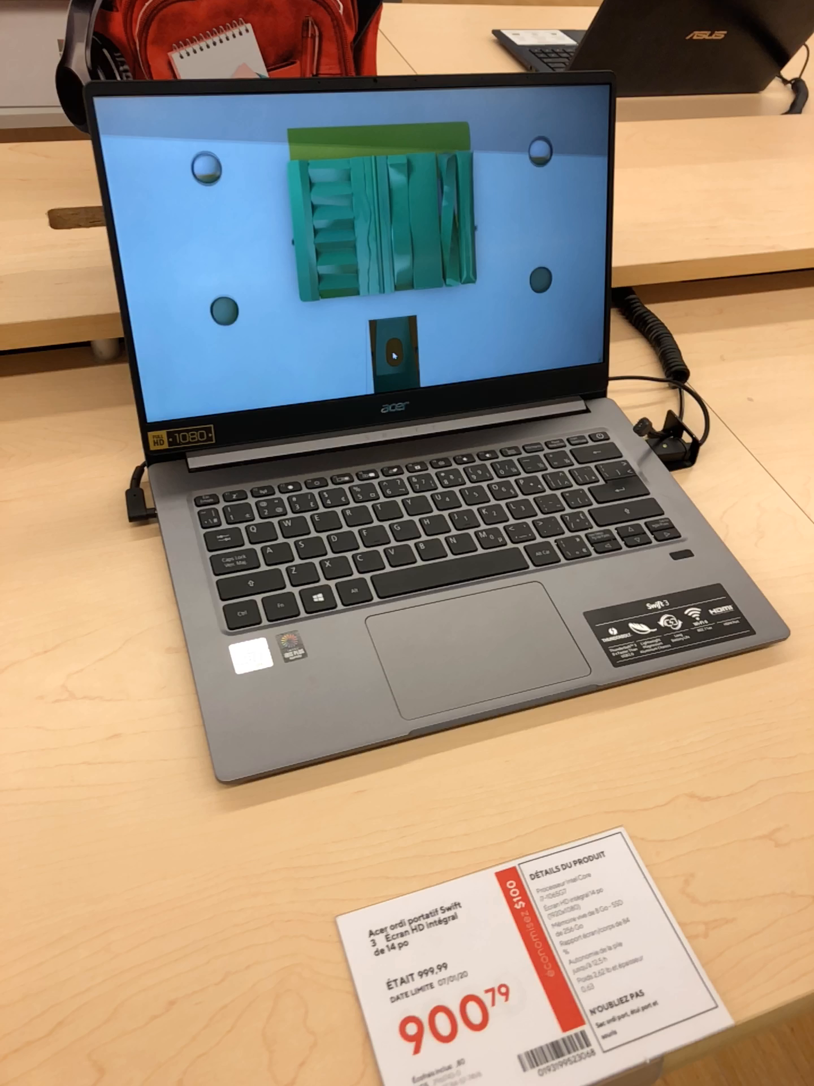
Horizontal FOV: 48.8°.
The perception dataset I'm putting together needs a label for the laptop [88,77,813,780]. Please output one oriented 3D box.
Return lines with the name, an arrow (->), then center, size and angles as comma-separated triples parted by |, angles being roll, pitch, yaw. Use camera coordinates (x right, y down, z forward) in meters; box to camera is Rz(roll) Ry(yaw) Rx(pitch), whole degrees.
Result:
laptop -> 0.023, -0.094, 0.483 | 0.315, 0.177, 0.312 | -11, 50, -18
